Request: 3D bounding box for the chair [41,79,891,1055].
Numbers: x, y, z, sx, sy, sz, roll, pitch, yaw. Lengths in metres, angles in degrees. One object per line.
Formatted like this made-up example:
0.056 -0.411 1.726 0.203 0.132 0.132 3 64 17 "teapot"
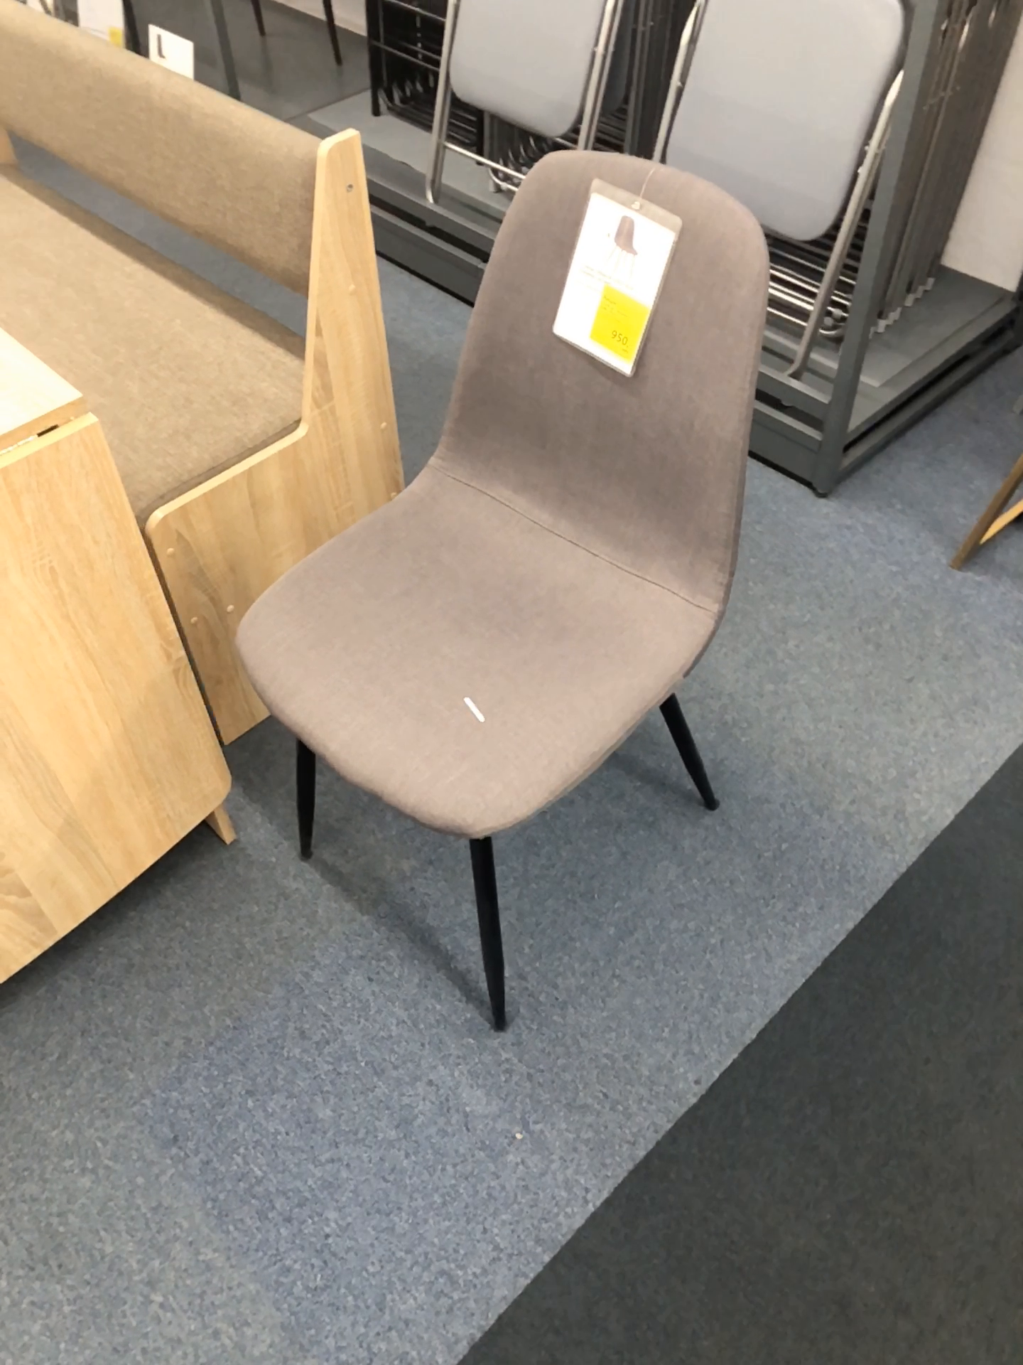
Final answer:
-0.020 -0.101 1.251 0.481 0.807 0.541 34 58 28 "chair"
